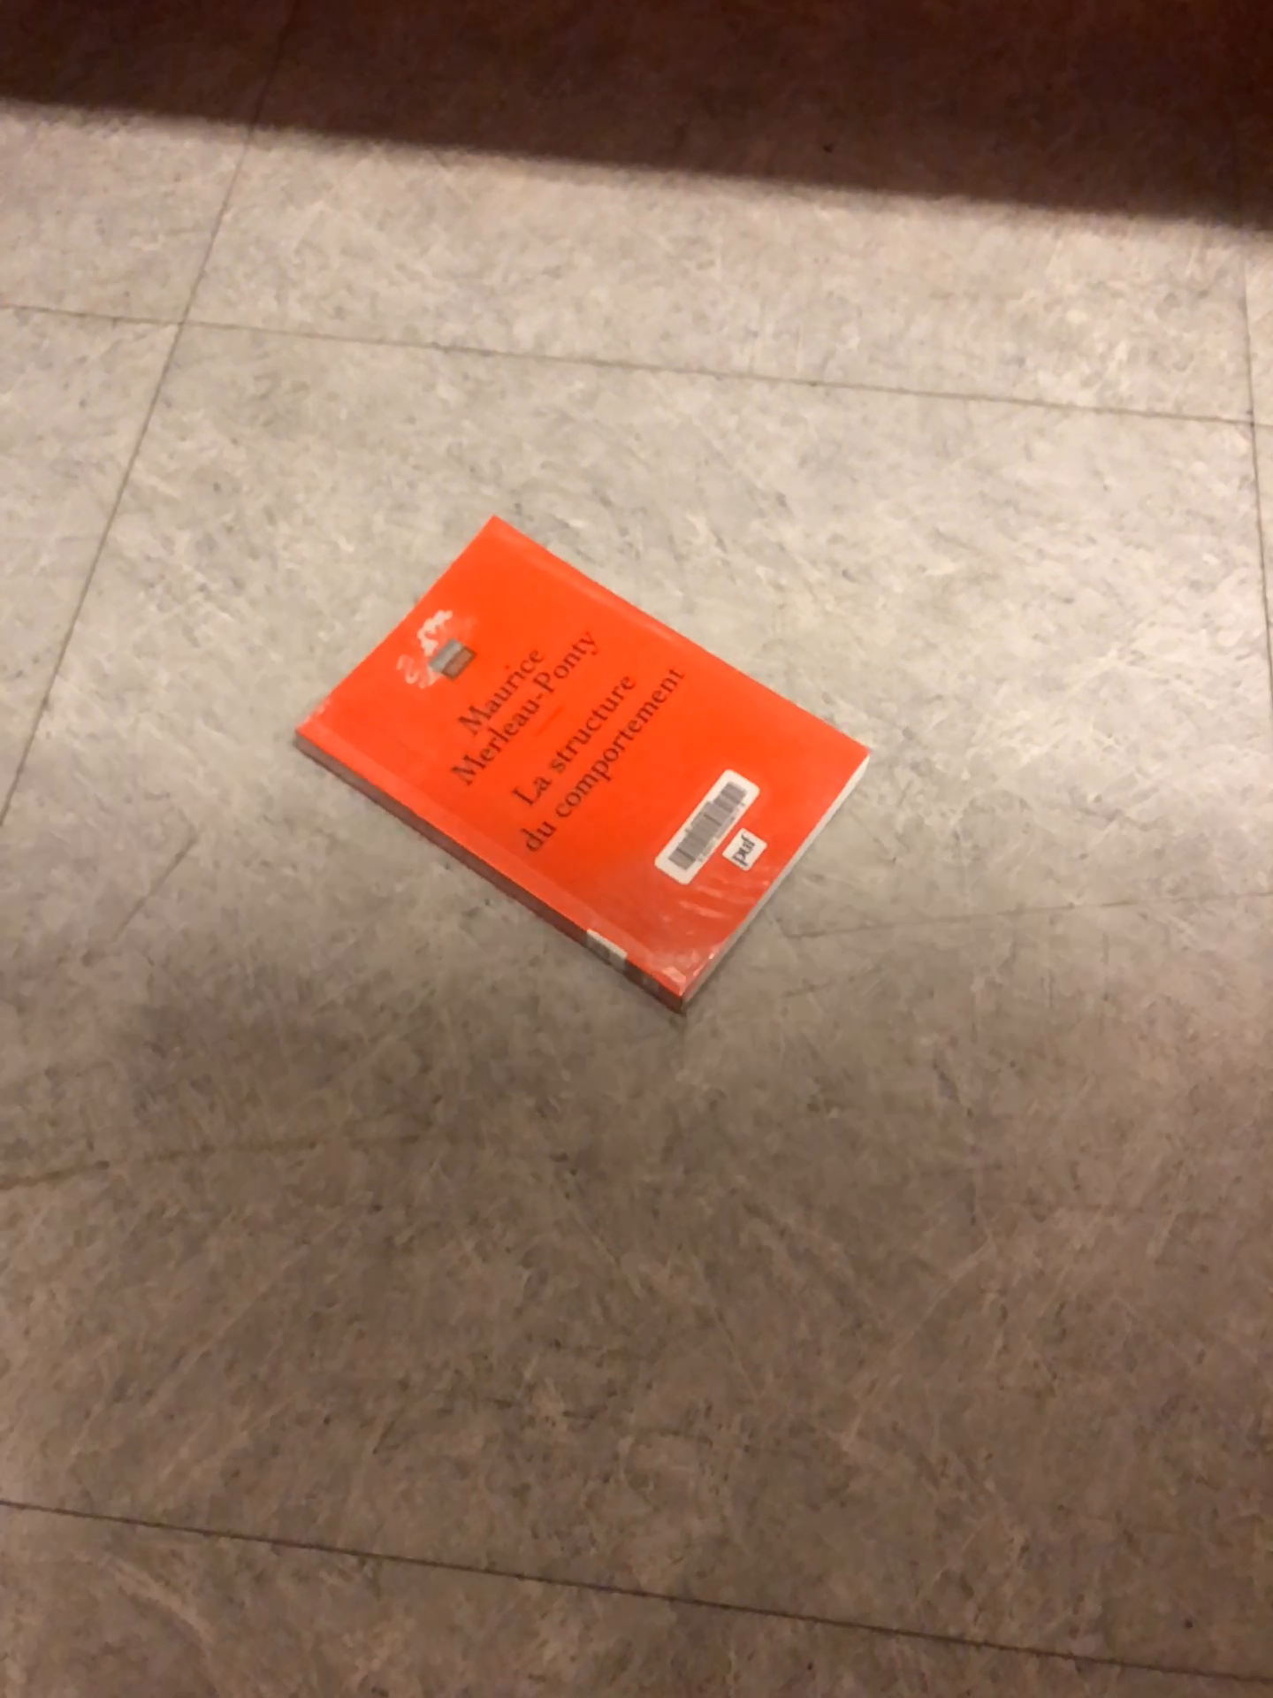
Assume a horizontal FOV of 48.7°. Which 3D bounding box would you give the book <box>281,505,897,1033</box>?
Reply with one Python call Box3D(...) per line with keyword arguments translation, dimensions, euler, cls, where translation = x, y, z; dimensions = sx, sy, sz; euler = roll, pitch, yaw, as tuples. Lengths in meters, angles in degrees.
Box3D(translation=(-0.019, -0.040, 0.558), dimensions=(0.200, 0.020, 0.135), euler=(34, 69, 15), cls="book")
